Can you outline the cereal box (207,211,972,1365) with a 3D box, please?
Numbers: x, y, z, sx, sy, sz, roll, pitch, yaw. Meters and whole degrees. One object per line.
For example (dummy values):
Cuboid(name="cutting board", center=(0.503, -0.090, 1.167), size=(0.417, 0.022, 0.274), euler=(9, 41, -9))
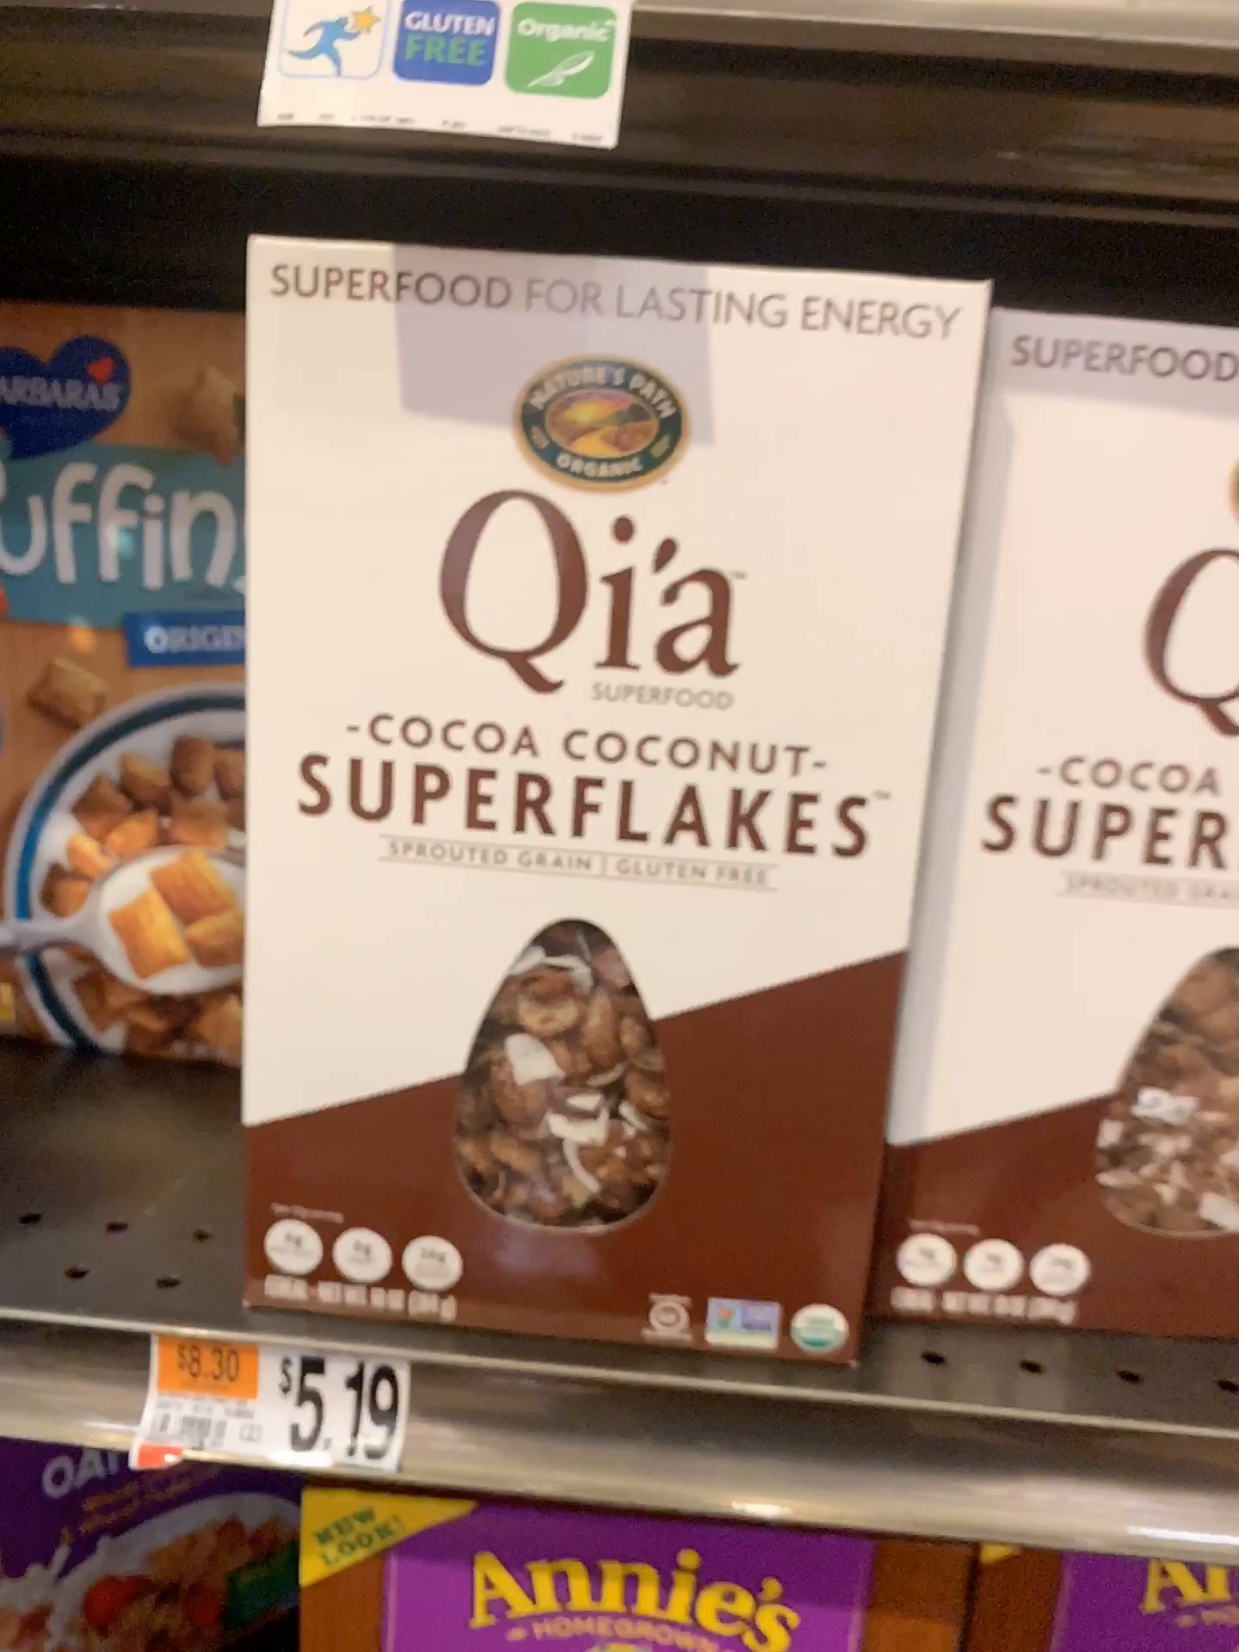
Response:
Cuboid(name="cereal box", center=(-0.015, -0.004, 0.330), size=(0.160, 0.259, 0.060), euler=(5, 13, 2))
